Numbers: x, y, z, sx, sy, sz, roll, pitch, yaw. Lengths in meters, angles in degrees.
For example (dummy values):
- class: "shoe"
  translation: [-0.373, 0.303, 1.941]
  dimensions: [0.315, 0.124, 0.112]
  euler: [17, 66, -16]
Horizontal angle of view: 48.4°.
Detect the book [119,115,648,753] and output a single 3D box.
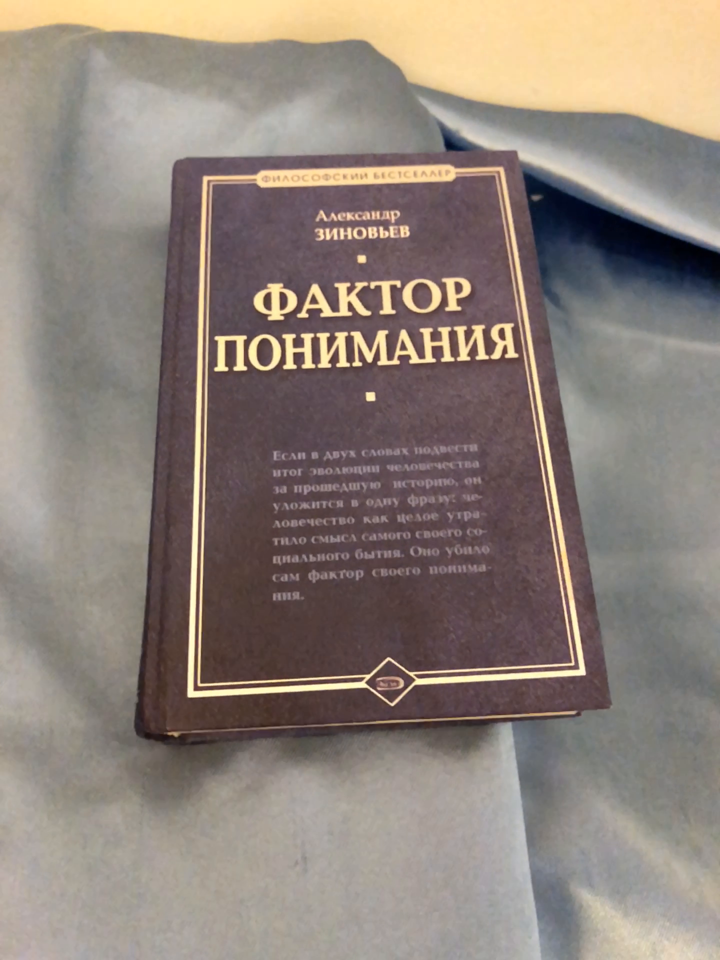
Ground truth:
- class: "book"
  translation: [0.001, -0.028, 0.276]
  dimensions: [0.140, 0.040, 0.221]
  euler: [-3, 65, 0]
